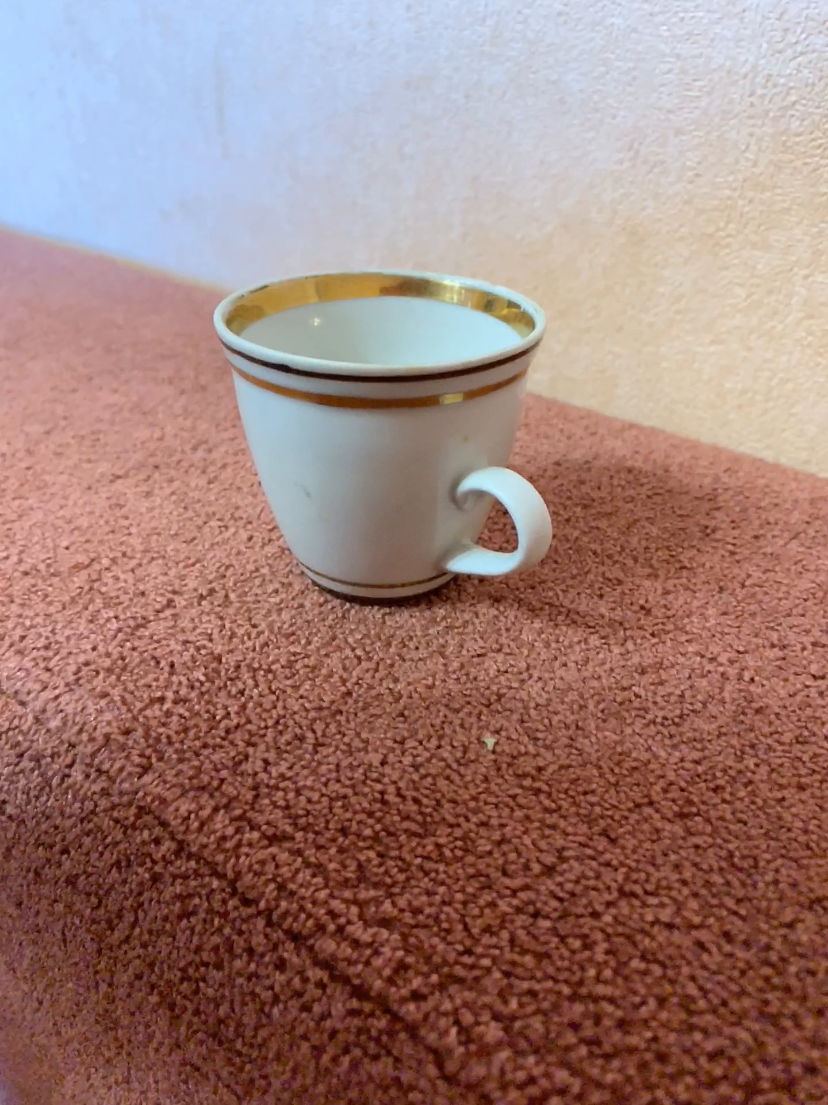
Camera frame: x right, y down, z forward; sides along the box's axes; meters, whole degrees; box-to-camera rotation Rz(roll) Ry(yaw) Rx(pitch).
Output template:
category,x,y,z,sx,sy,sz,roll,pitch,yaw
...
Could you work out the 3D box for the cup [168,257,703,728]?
category,x,y,z,sx,sy,sz,roll,pitch,yaw
cup,0.000,-0.019,0.163,0.054,0.048,0.078,-24,39,-32
